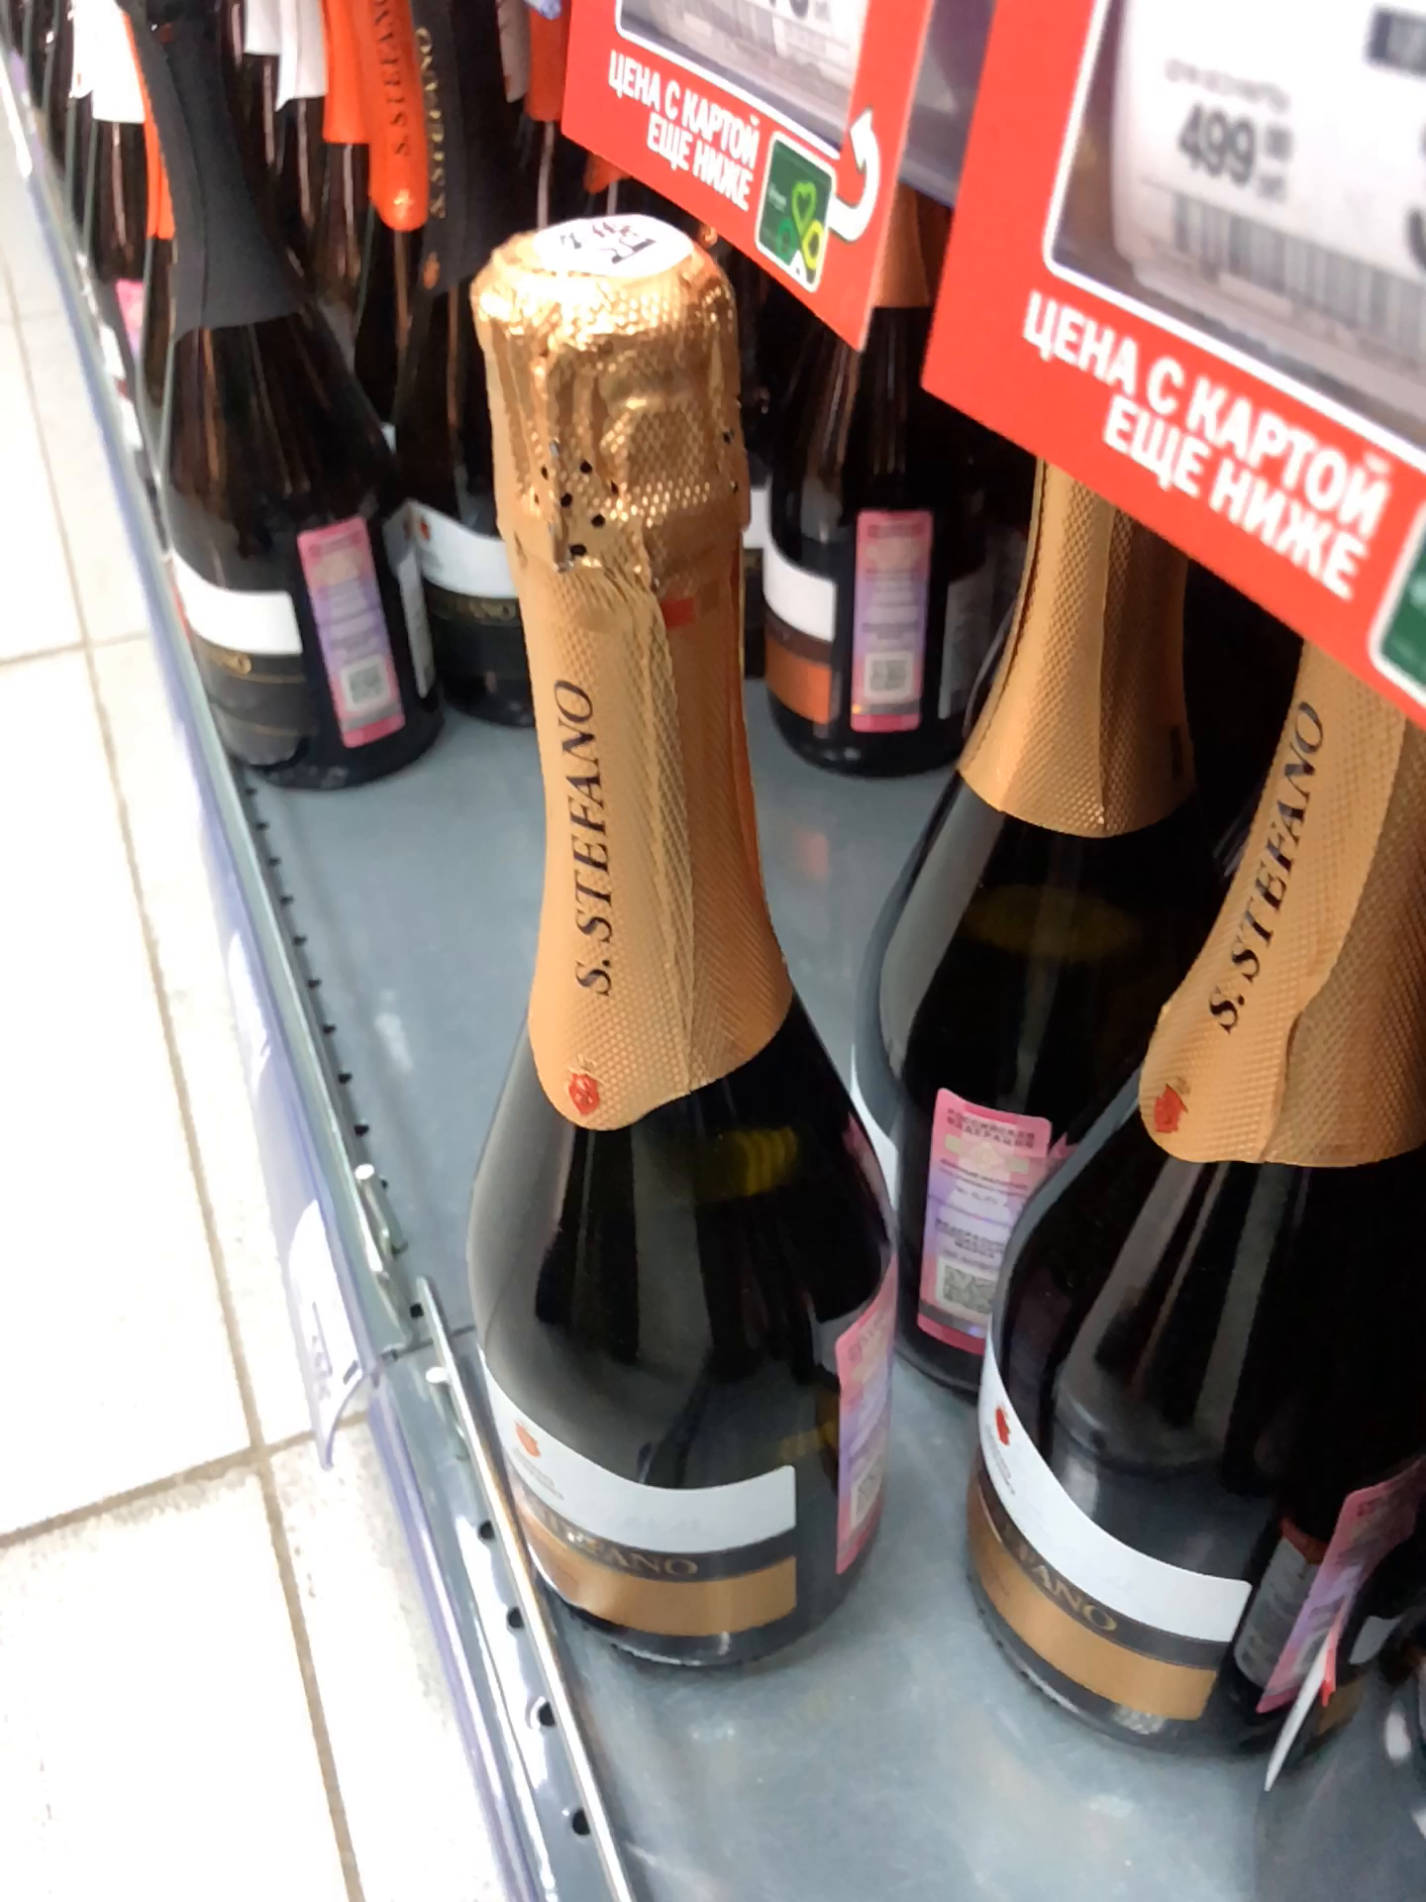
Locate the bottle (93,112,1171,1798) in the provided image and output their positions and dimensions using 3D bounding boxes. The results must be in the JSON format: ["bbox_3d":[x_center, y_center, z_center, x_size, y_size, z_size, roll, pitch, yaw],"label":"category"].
[{"bbox_3d":[-0.006,0.026,0.294,0.100,0.298,0.090,31,51,33],"label":"bottle"}]
